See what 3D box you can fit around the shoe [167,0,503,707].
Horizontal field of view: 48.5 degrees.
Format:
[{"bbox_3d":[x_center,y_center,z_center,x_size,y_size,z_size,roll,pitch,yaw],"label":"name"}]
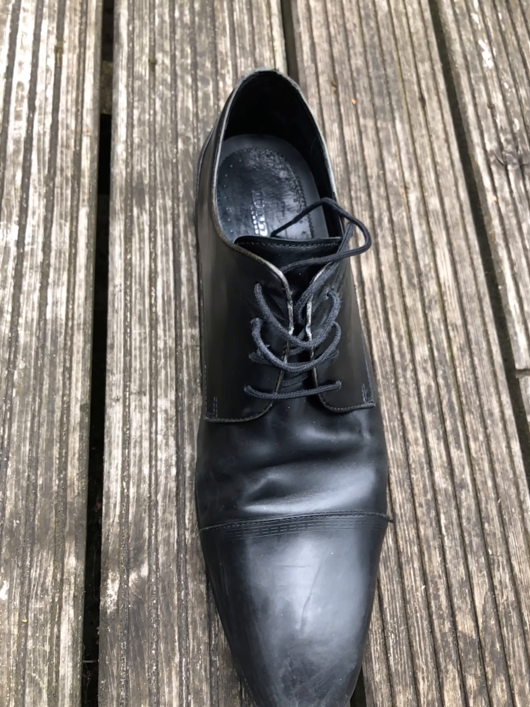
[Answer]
[{"bbox_3d":[0.005,0.005,0.312,0.090,0.150,0.341,-1,71,-14],"label":"shoe"}]
